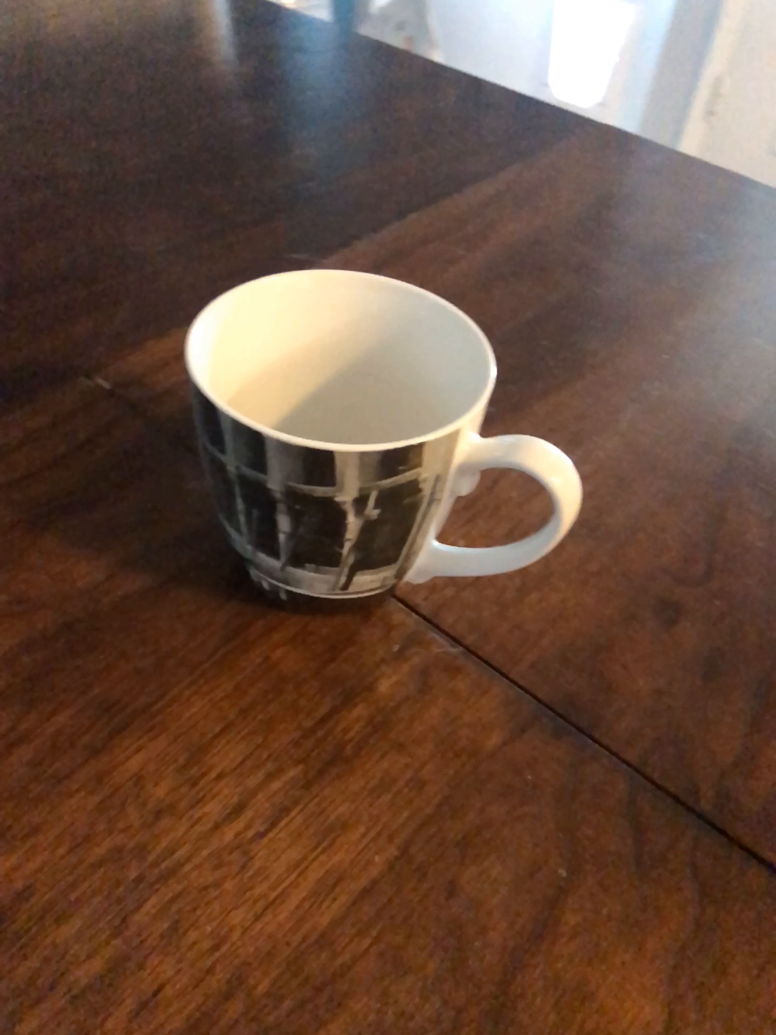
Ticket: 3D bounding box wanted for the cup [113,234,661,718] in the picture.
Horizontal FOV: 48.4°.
[{"bbox_3d":[0.002,-0.020,0.292,0.140,0.080,0.100,20,46,13],"label":"cup"}]
